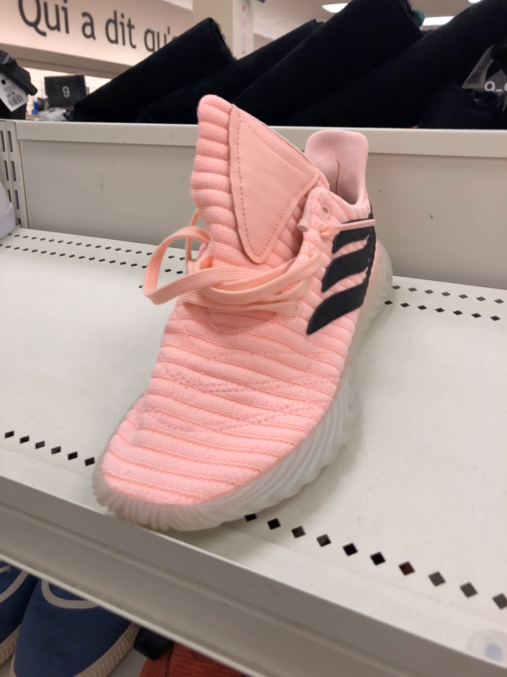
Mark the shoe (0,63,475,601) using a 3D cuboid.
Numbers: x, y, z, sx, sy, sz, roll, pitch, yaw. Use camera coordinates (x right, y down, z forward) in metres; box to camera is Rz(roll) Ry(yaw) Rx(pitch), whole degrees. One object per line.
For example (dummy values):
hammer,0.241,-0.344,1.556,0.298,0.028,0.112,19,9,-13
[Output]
shoe,0.029,-0.052,0.335,0.120,0.169,0.322,12,33,27
